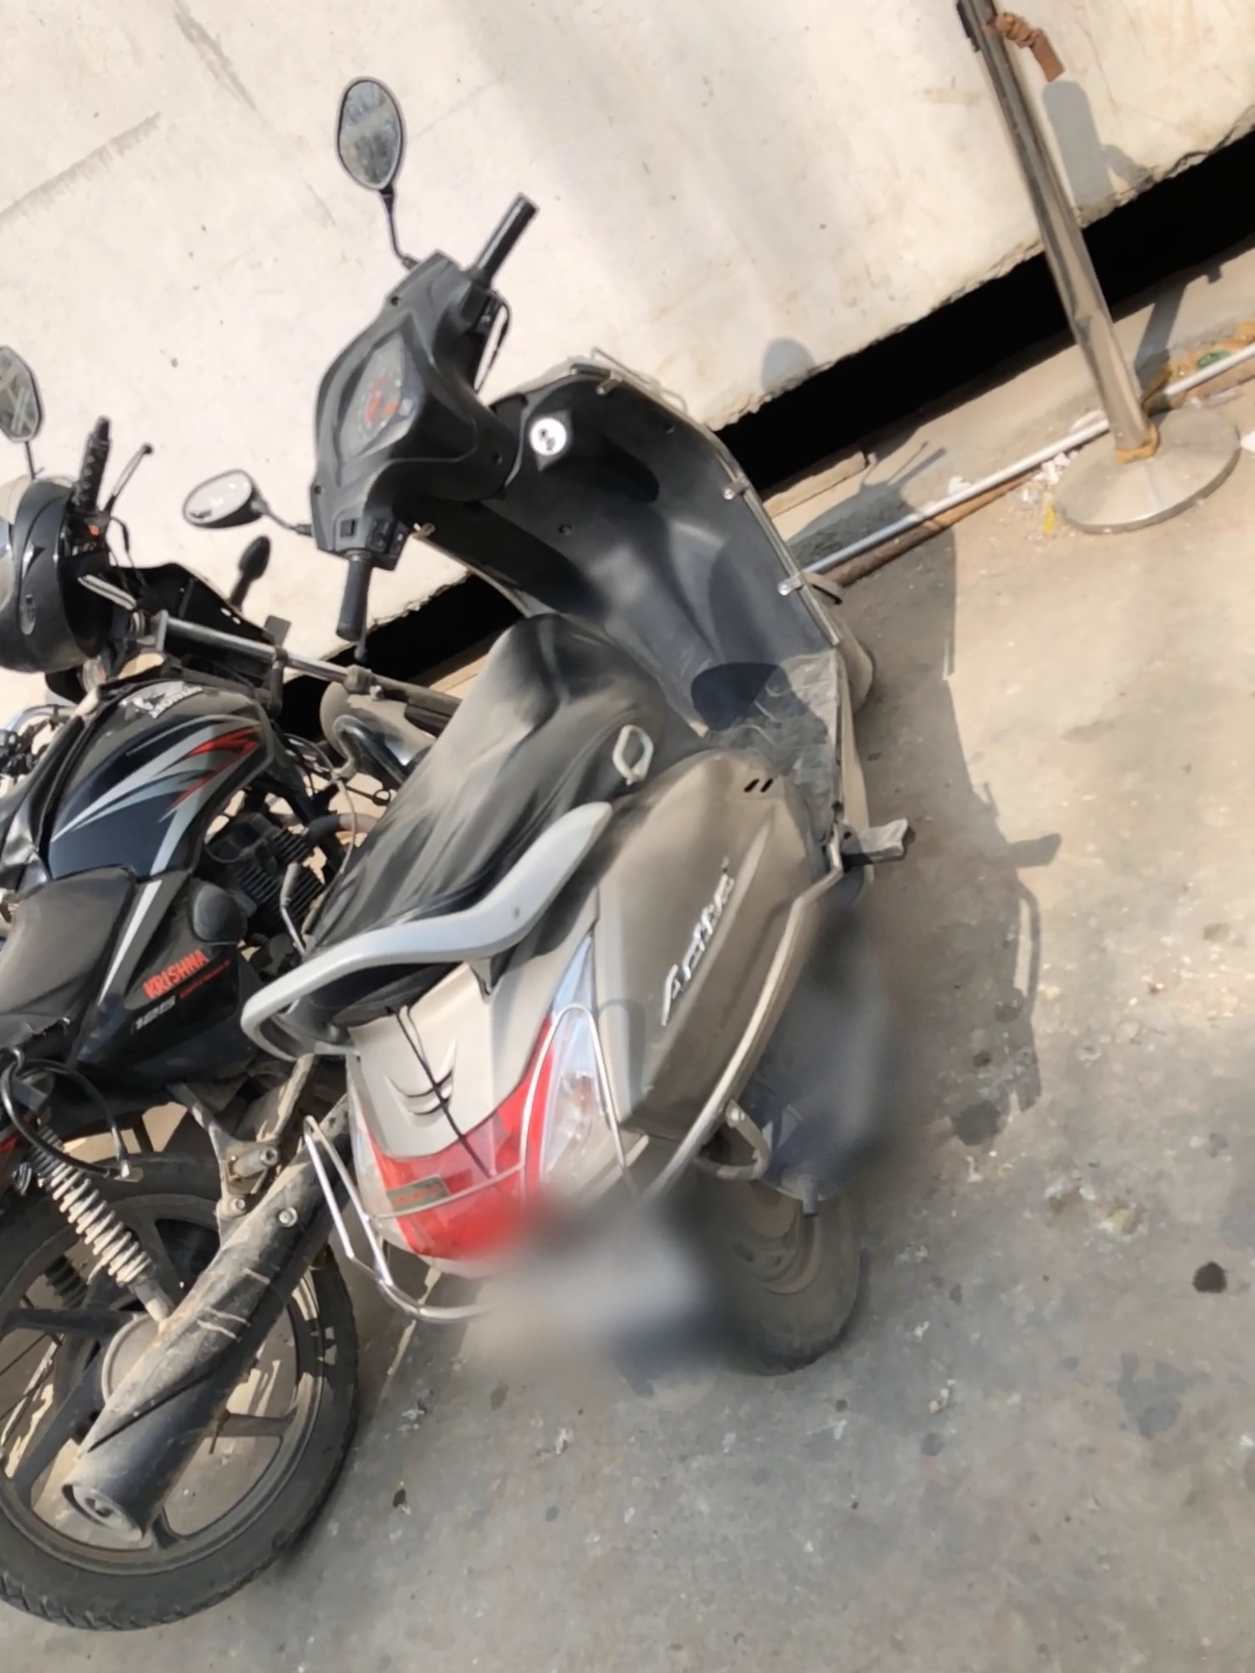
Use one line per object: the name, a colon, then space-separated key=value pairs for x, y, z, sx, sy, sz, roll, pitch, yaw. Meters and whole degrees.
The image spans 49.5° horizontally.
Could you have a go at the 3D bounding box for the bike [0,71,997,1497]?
bike: x=-0.044 y=-0.154 z=1.879 sx=0.617 sy=1.108 sz=1.506 roll=-20 pitch=35 yaw=25
